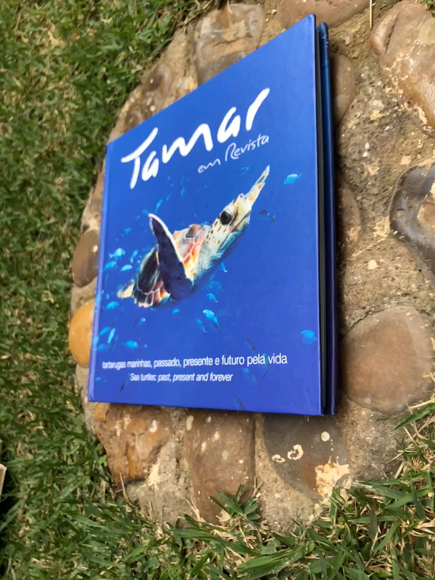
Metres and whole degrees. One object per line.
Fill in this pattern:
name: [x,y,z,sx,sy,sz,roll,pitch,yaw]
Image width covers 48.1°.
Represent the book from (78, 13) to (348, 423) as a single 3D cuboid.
book: [-0.015,-0.023,0.260,0.179,0.020,0.167,-10,74,47]
